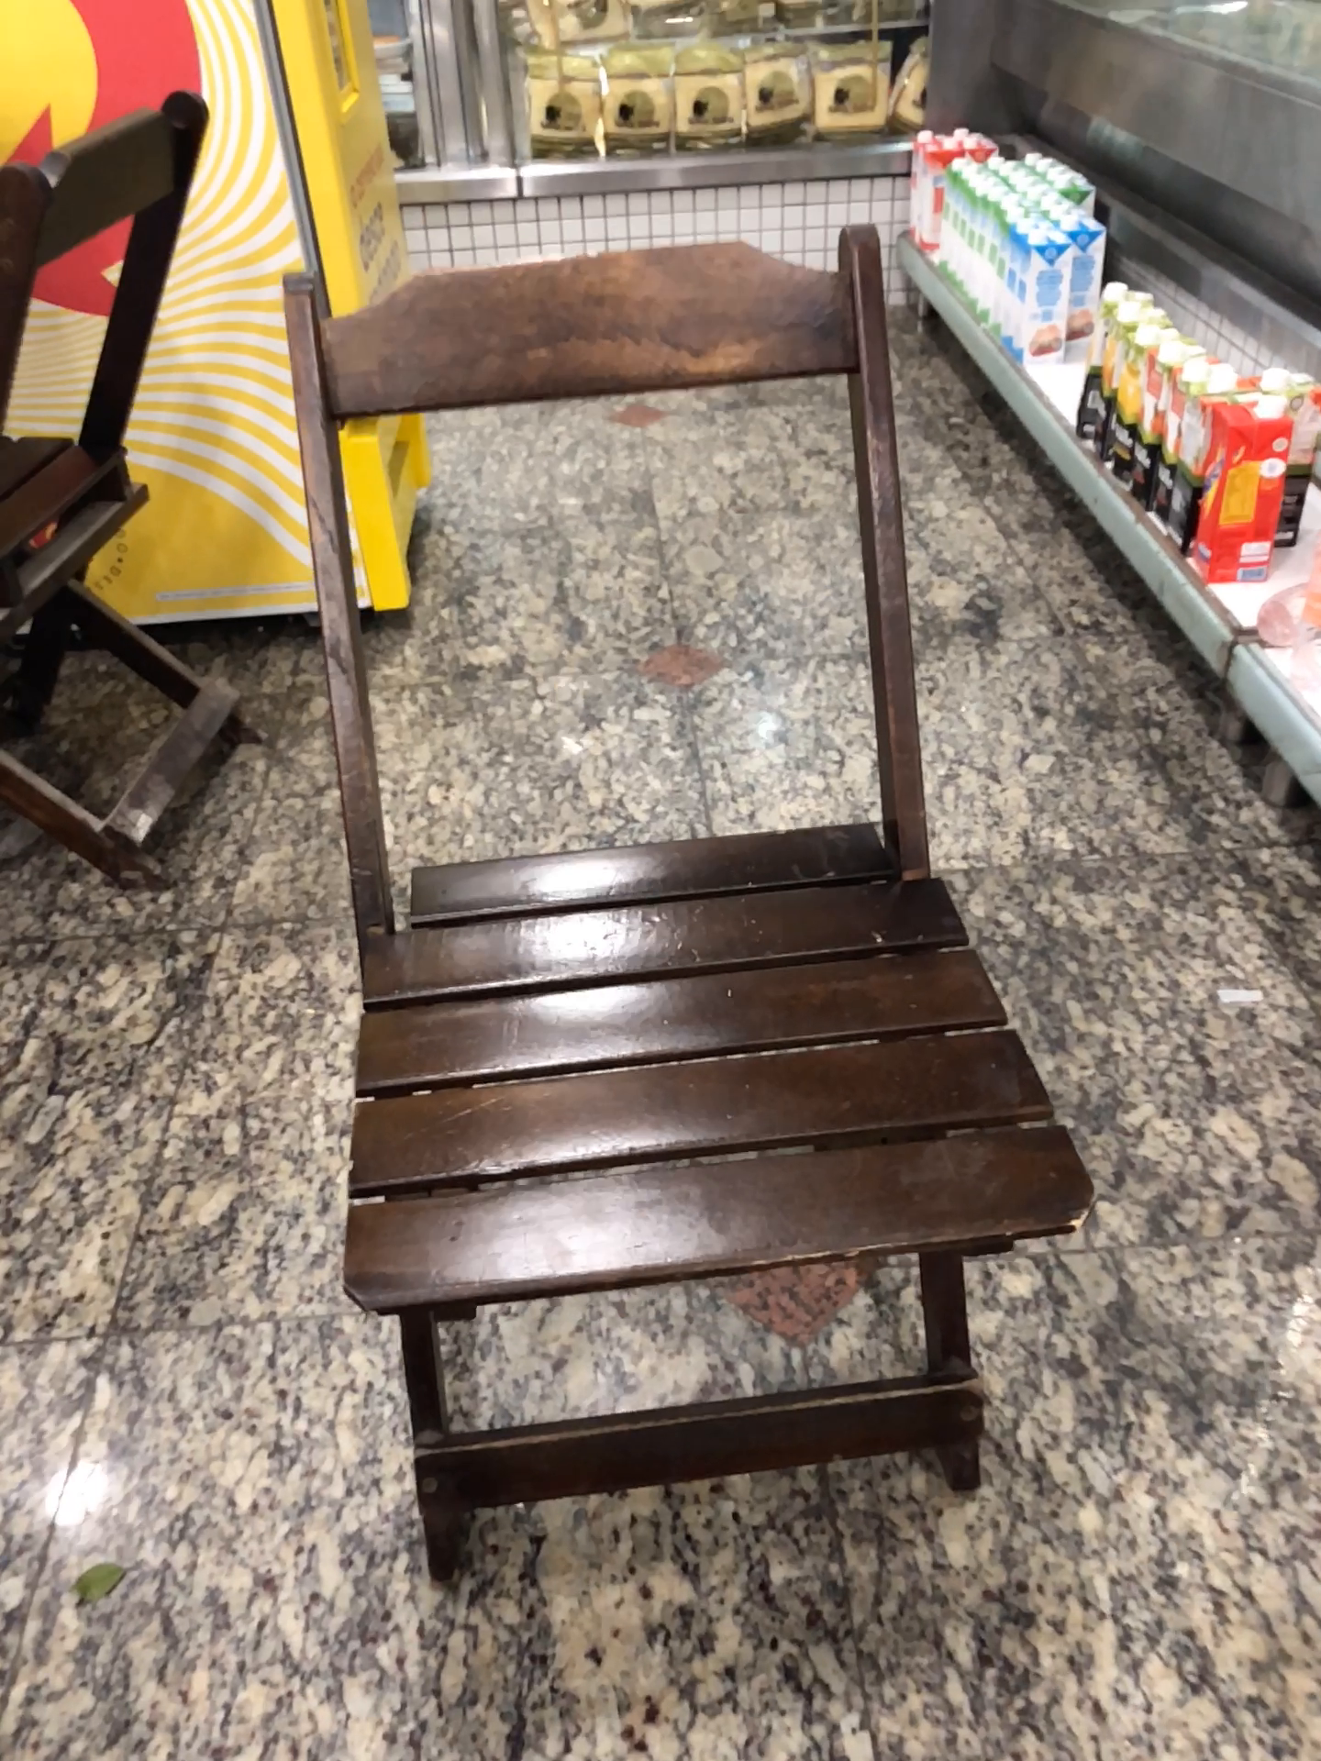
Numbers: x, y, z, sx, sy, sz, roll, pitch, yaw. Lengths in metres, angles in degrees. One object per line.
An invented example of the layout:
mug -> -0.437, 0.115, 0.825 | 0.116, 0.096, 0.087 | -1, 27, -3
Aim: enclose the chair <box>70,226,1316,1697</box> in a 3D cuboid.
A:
chair -> 0.000, 0.033, 0.936 | 0.440, 0.705, 0.554 | -7, 35, -4
